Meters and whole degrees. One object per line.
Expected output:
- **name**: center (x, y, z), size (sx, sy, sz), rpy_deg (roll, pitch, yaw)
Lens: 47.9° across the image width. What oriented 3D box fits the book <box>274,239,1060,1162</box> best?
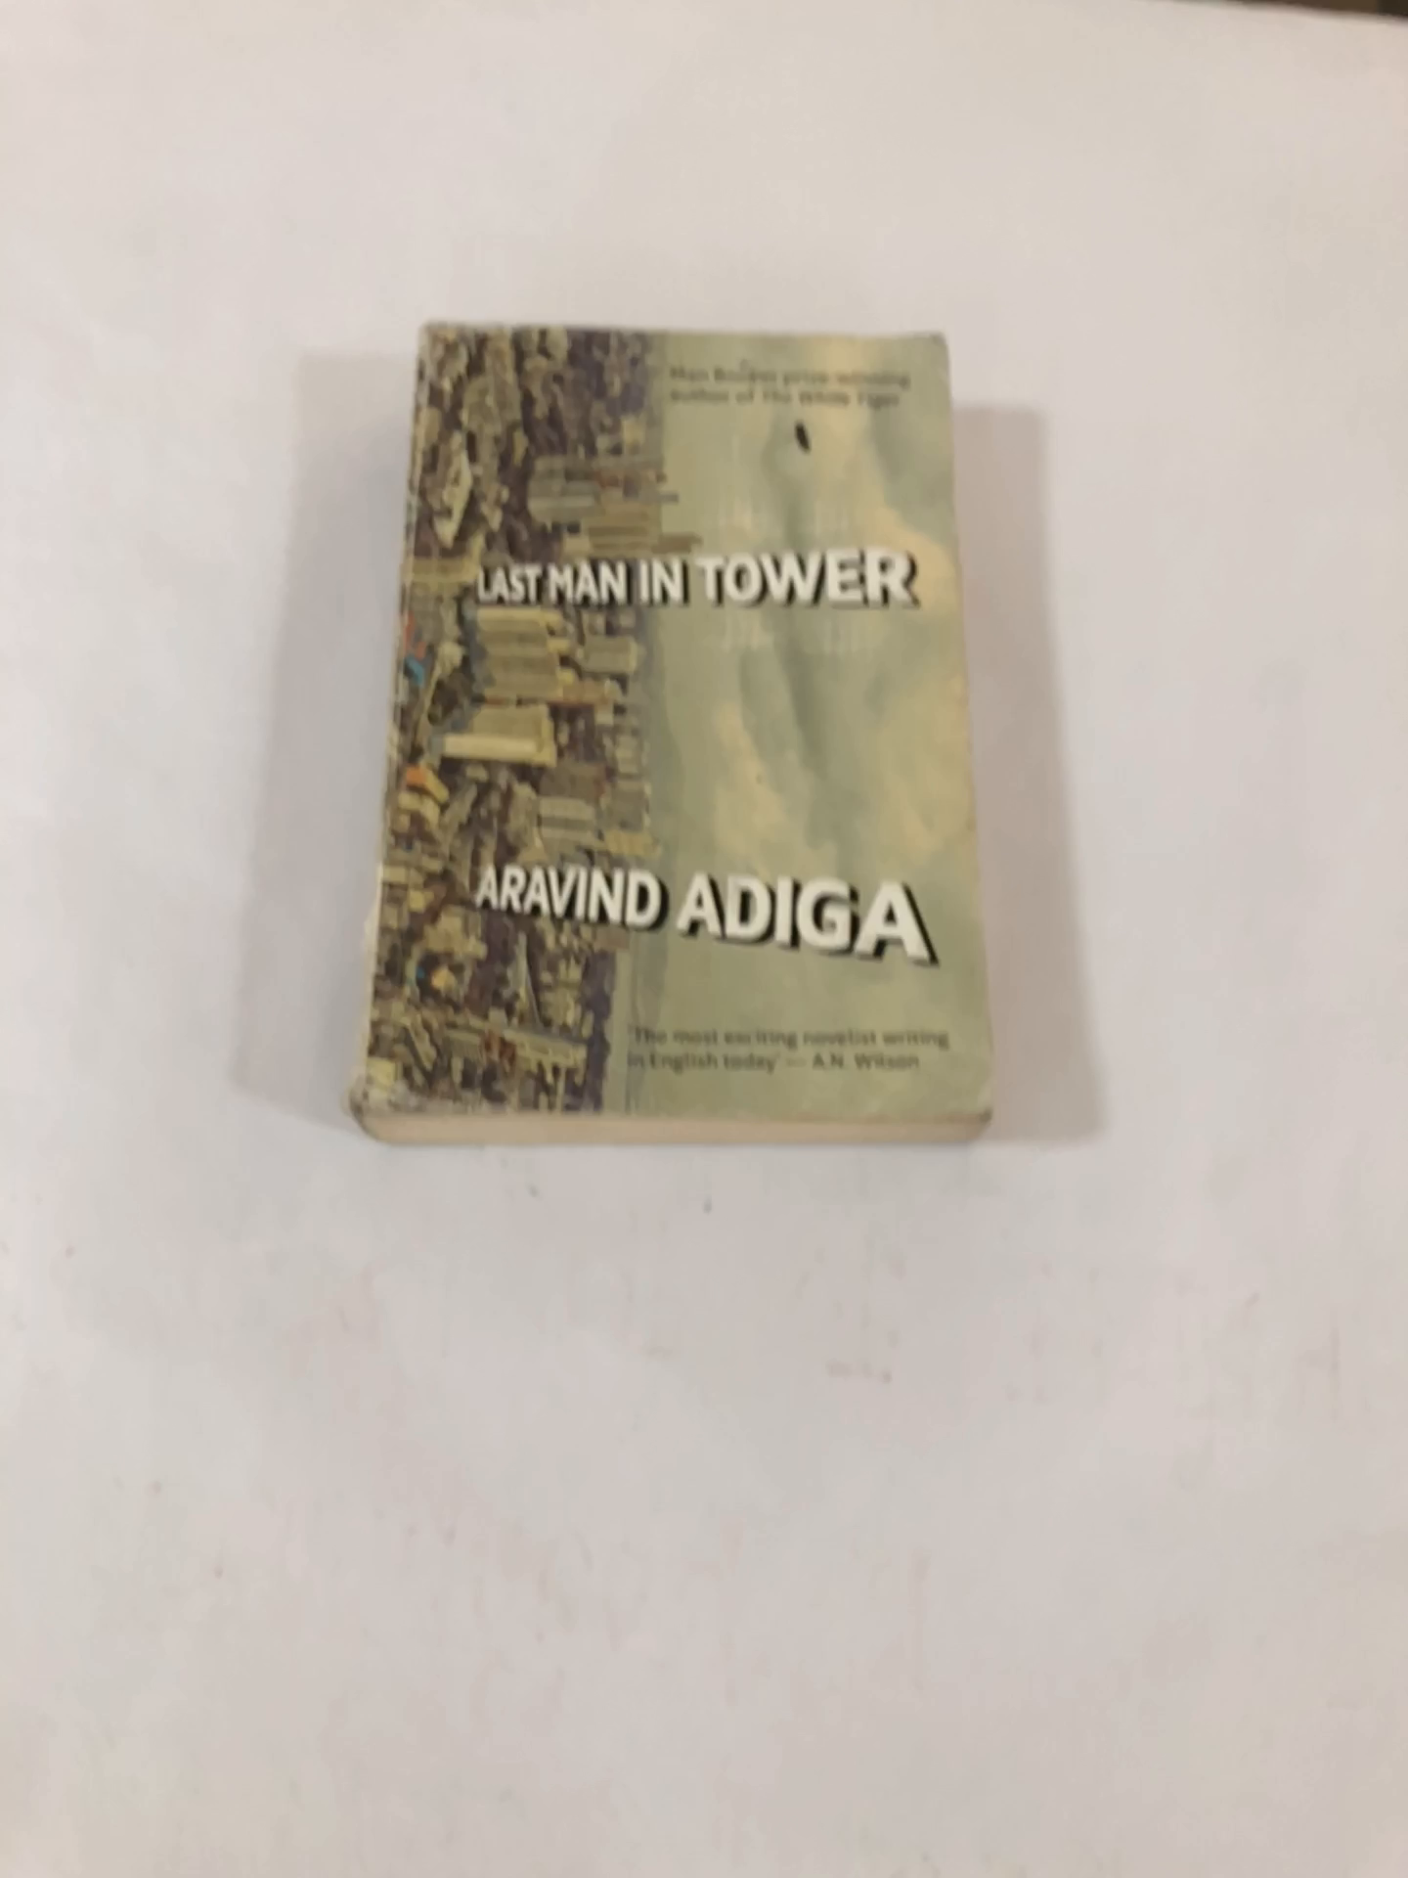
- **book**: center (-0.008, -0.061, 0.358), size (0.150, 0.030, 0.220), rpy_deg (0, 68, -2)
